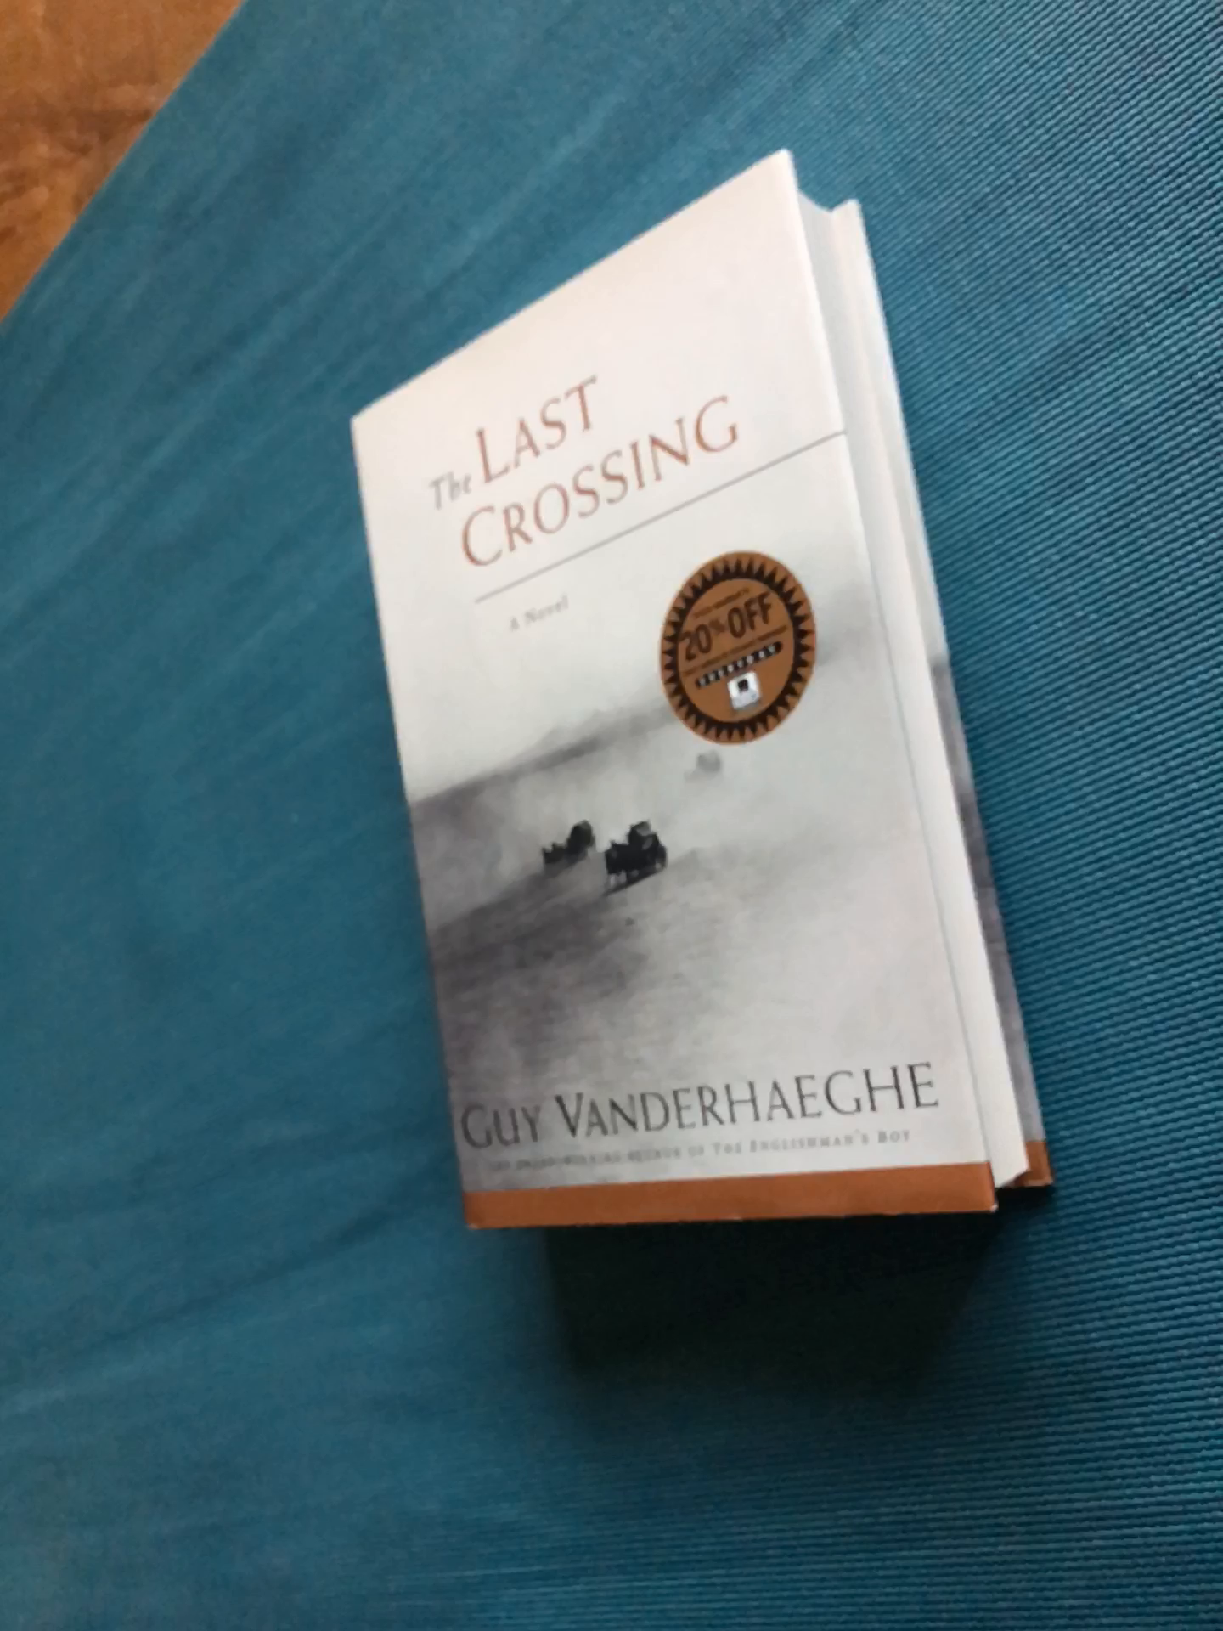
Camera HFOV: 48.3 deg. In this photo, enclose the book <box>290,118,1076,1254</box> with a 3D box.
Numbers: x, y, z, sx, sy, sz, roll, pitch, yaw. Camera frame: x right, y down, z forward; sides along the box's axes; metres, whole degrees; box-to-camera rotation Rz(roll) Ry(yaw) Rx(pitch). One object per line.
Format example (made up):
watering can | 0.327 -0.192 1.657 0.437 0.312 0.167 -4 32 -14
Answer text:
book | 0.001 -0.016 0.337 0.171 0.040 0.230 -16 78 38
